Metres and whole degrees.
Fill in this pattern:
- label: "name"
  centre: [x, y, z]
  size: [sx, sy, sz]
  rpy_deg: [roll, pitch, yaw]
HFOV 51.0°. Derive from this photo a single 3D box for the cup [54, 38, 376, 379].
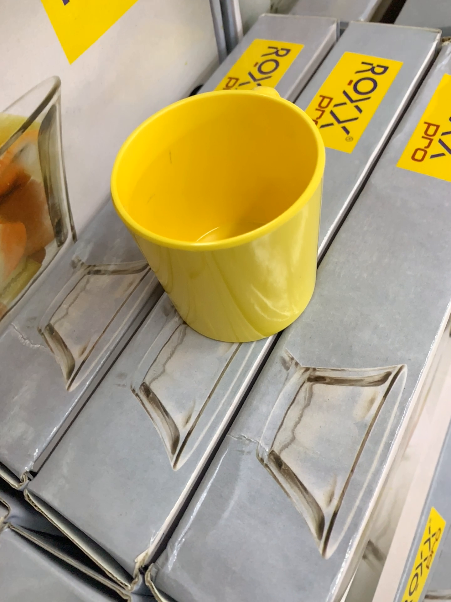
- label: "cup"
  centre: [0.005, -0.038, 0.182]
  size: [0.072, 0.069, 0.096]
  rpy_deg: [18, 61, 20]
